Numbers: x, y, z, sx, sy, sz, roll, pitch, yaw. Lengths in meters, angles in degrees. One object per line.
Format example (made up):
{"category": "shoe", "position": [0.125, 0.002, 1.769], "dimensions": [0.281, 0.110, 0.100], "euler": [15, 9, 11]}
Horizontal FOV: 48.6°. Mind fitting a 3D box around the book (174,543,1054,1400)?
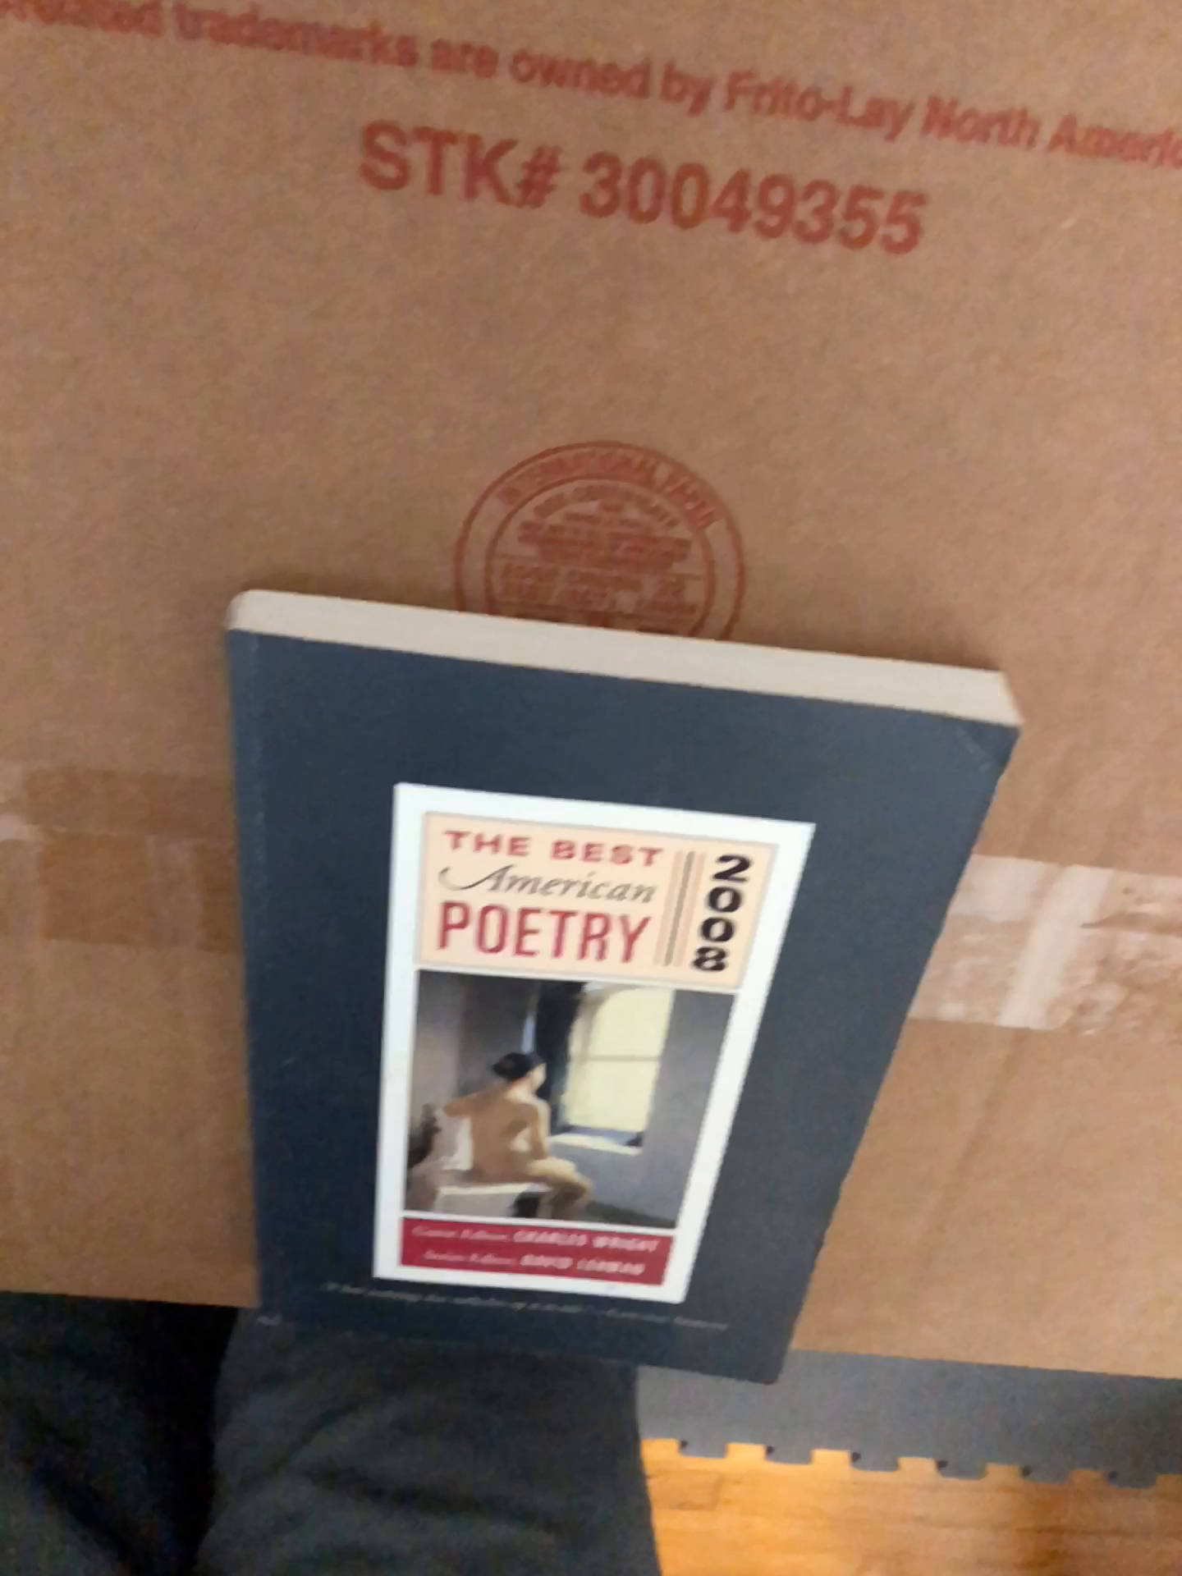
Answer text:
{"category": "book", "position": [-0.006, 0.062, 0.297], "dimensions": [0.150, 0.020, 0.231], "euler": [5, 126, -2]}
